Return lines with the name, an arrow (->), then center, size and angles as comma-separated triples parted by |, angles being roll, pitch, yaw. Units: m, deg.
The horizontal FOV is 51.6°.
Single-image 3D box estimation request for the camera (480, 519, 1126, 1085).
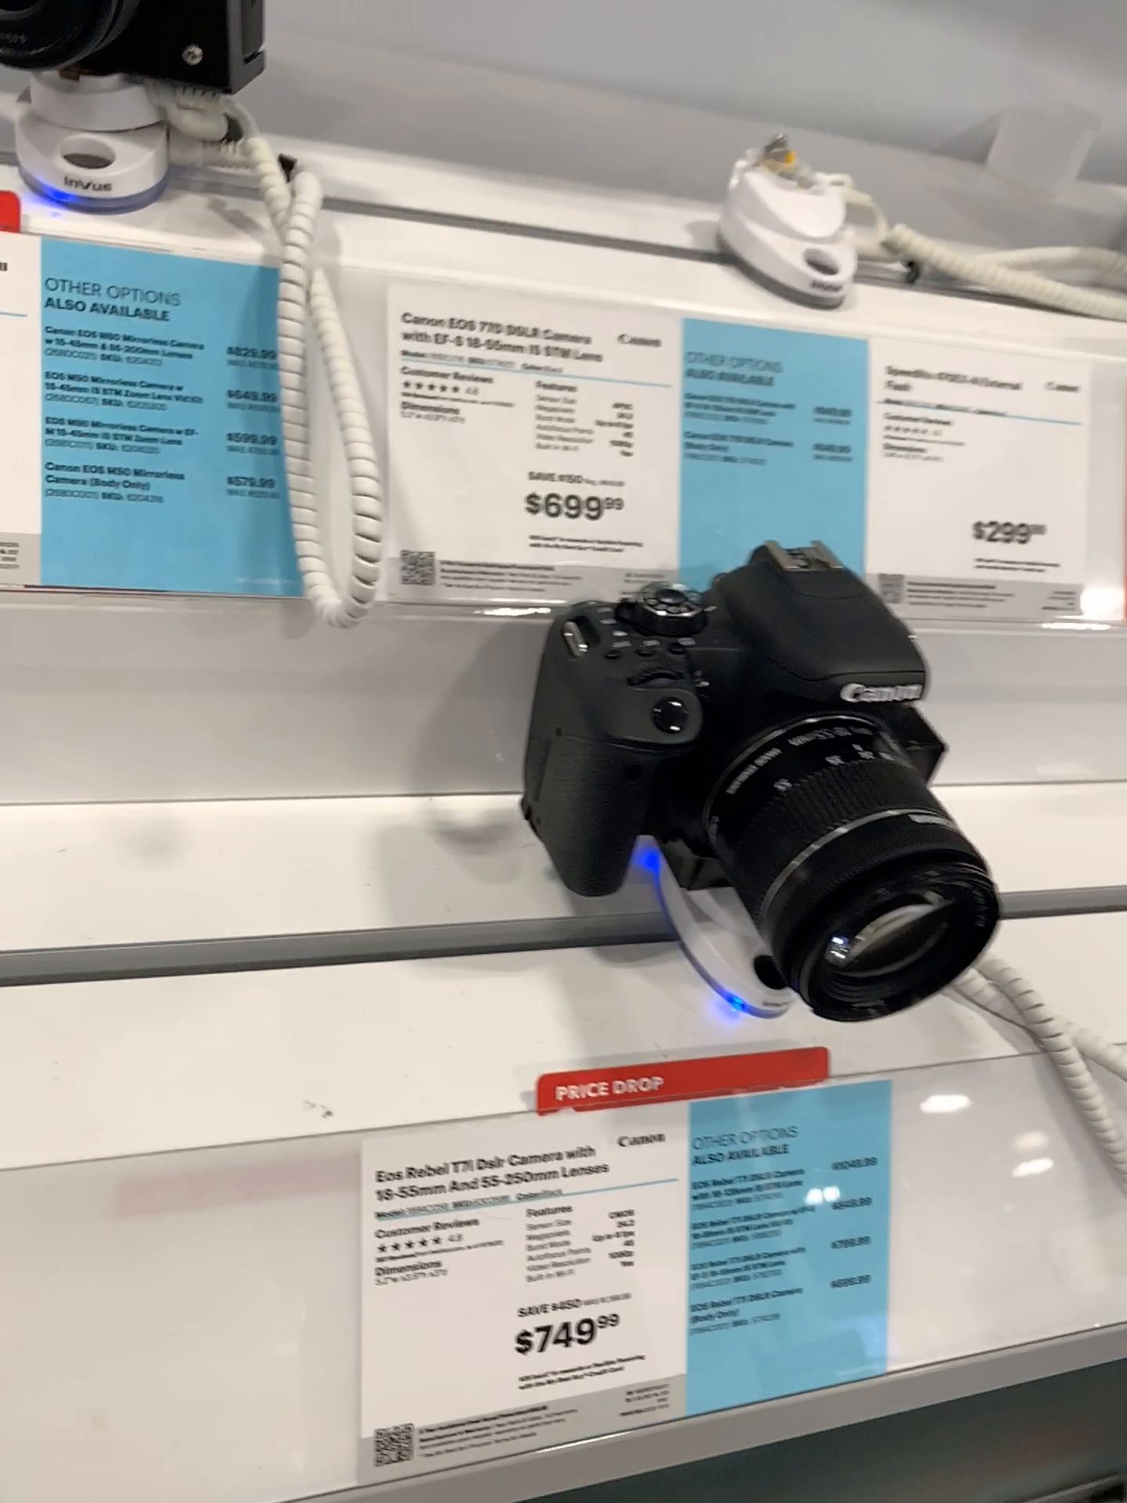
camera -> 0.061, 0.006, 0.367 | 0.130, 0.099, 0.139 | -4, 42, -20
